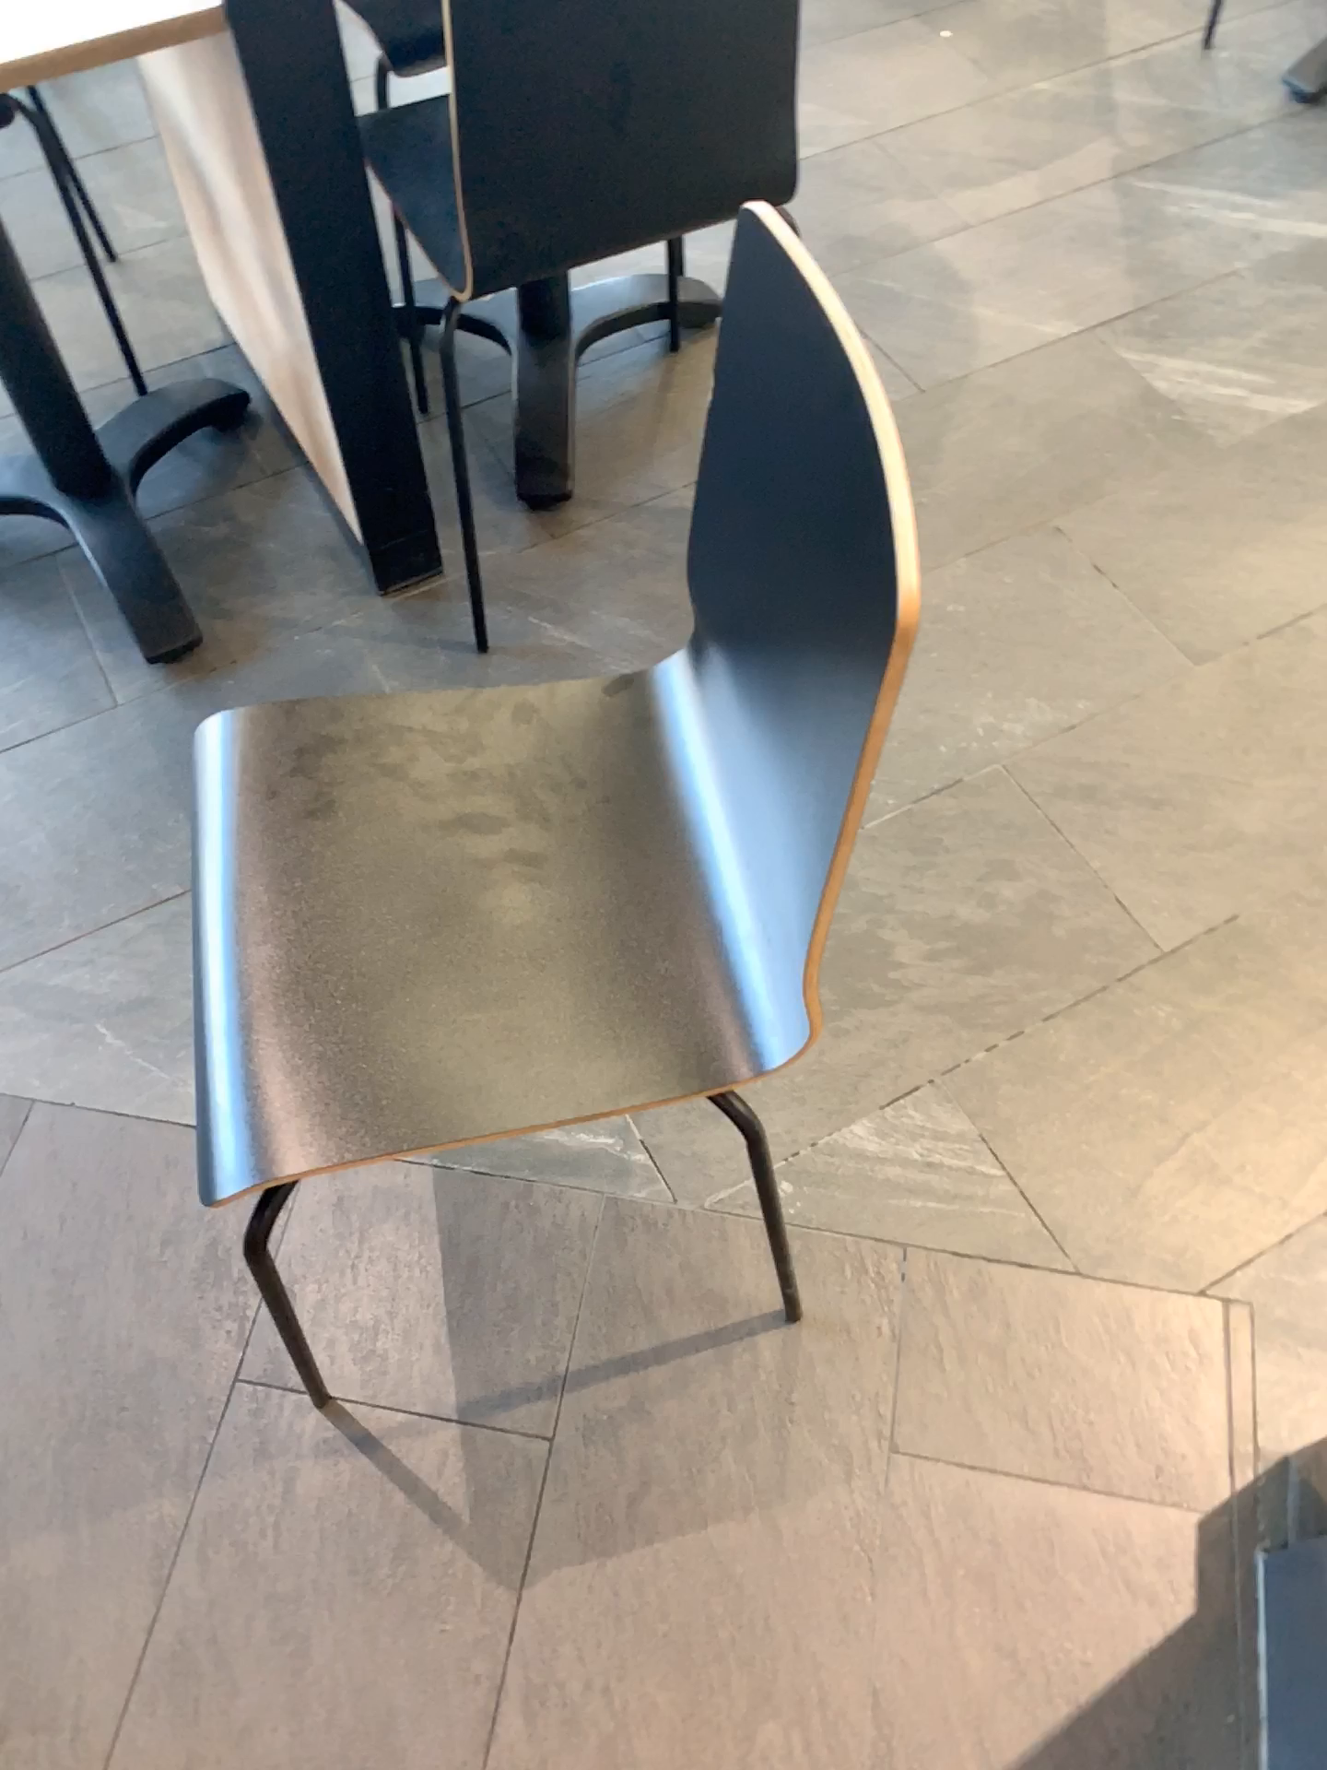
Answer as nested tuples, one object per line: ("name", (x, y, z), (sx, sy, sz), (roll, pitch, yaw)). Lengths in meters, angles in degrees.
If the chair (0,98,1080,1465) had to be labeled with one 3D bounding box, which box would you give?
("chair", (-0.145, 0.024, 0.970), (0.520, 0.838, 0.521), (-8, 58, -5))
